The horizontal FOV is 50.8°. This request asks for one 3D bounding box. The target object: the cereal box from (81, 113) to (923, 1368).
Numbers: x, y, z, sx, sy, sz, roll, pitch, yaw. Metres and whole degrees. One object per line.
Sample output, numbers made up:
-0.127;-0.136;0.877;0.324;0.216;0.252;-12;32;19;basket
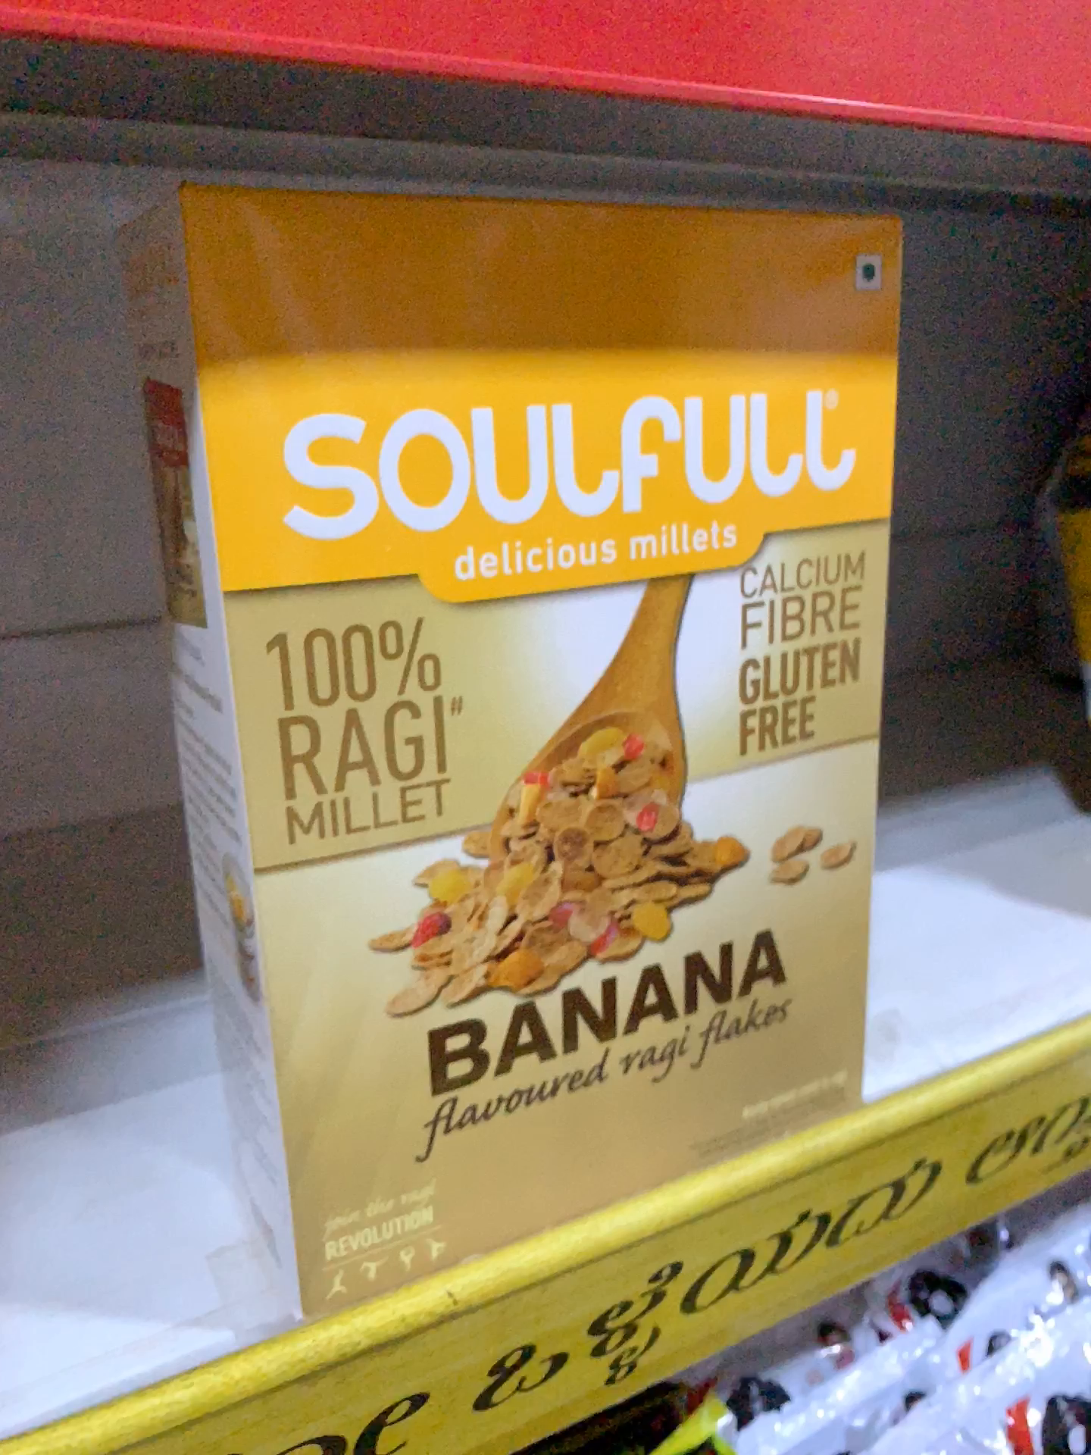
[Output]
0.000;-0.001;0.263;0.160;0.229;0.060;-11;18;-27;cereal box
